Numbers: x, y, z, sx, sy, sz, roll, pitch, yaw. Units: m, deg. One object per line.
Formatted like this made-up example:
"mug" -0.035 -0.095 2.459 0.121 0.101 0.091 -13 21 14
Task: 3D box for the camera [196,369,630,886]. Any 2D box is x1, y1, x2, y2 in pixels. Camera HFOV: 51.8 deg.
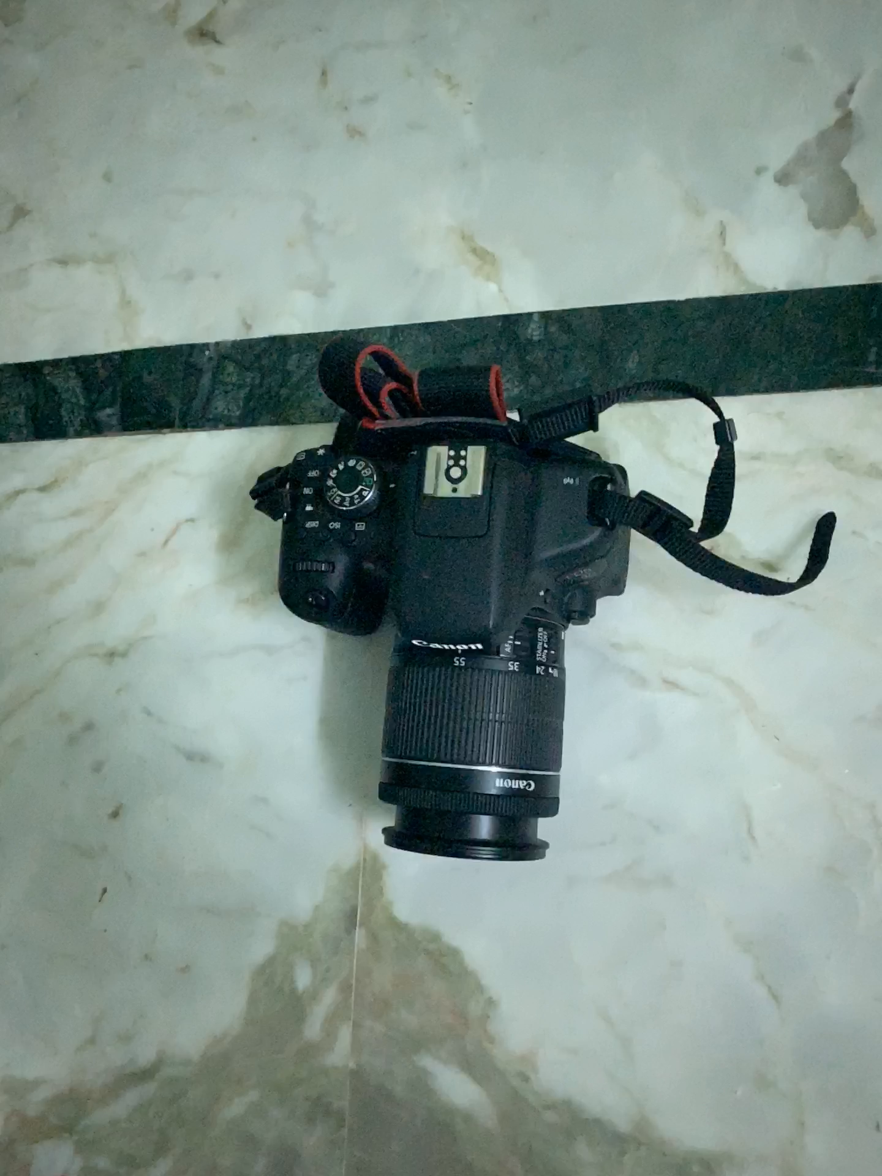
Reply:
"camera" 0.001 0.018 0.339 0.128 0.100 0.160 1 77 15
